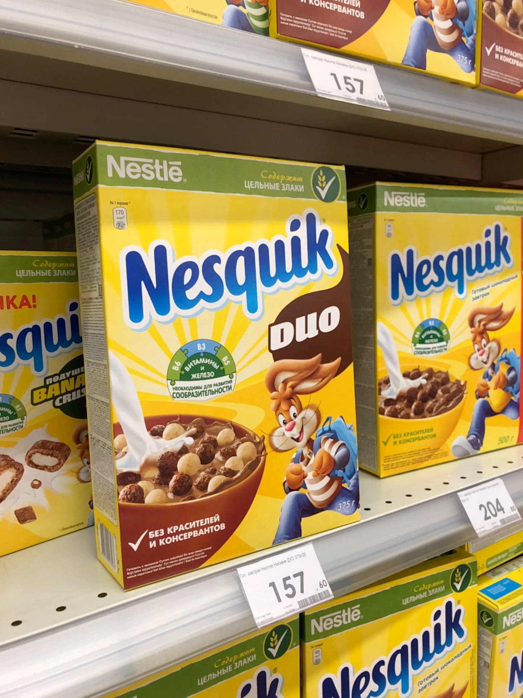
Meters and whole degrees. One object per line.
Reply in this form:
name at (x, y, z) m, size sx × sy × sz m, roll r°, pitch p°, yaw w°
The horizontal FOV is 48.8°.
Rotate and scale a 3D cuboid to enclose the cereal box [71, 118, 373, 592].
cereal box at (-0.020, -0.001, 0.417) m, size 0.200 × 0.280 × 0.060 m, roll -4°, pitch 3°, yaw -31°
